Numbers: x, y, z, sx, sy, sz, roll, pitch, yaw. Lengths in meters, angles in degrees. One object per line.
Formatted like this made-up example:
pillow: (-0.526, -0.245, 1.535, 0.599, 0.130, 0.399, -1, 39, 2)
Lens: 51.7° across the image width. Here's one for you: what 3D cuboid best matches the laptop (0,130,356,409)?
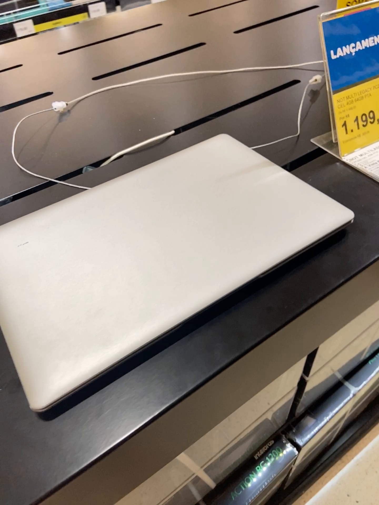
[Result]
laptop: (-0.029, -0.025, 0.380, 0.315, 0.003, 0.205, -28, 50, -20)
